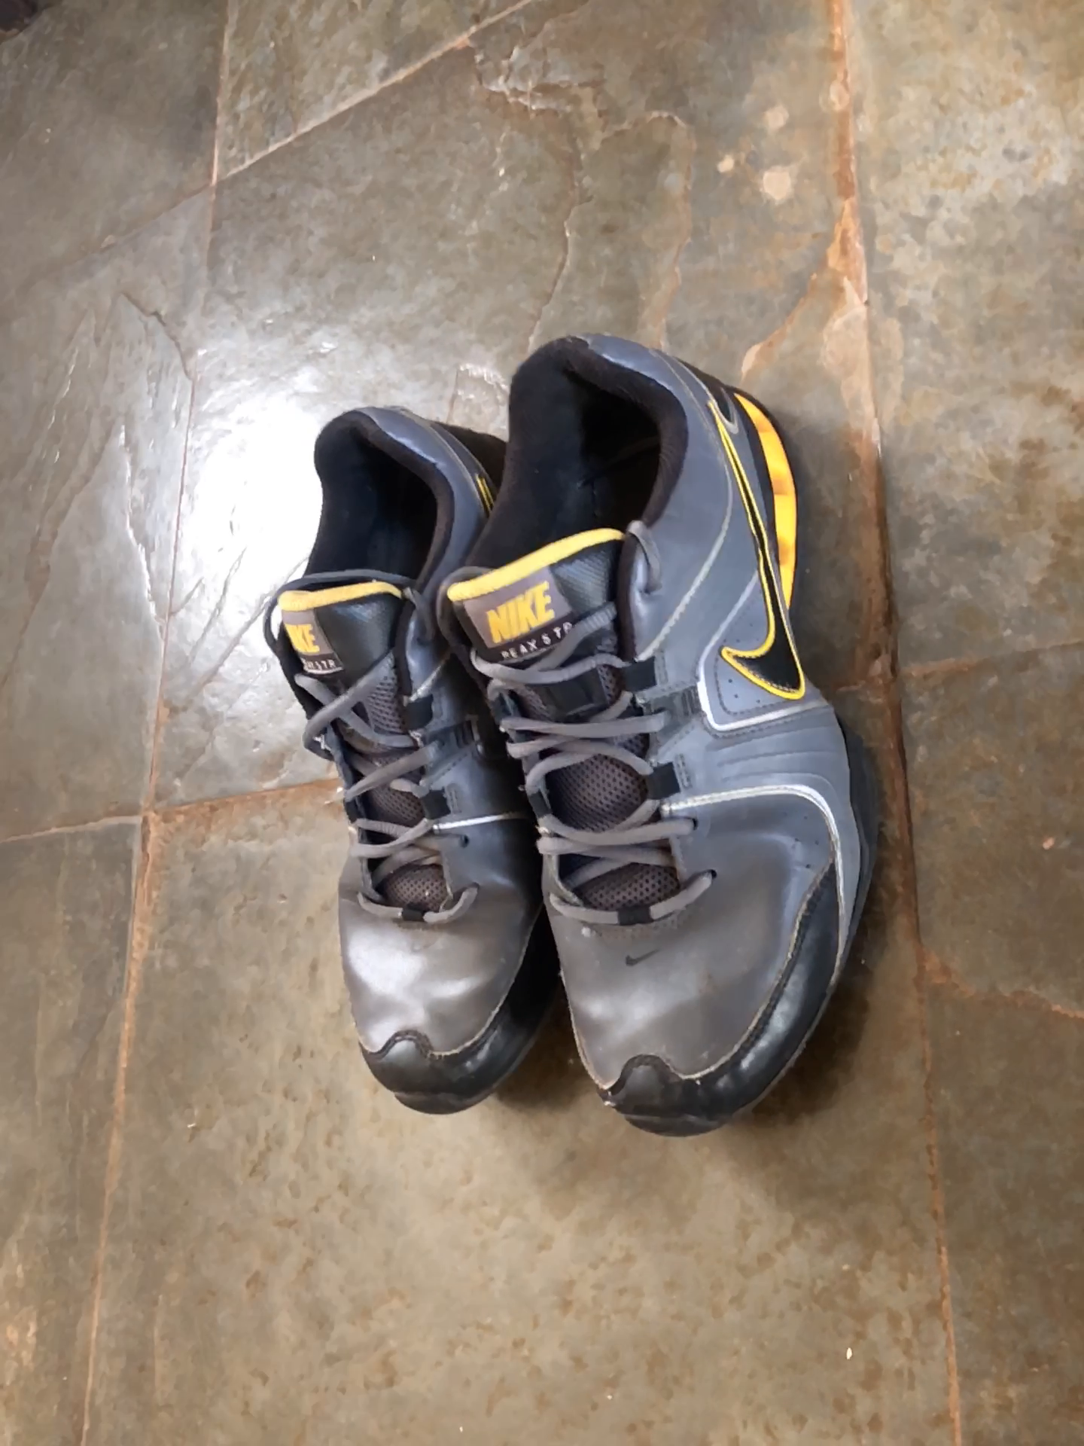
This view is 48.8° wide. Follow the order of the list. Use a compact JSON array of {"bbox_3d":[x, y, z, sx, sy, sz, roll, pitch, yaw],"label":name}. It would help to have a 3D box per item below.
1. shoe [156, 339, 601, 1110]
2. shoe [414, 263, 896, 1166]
[{"bbox_3d":[-0.050,0.008,0.425,0.100,0.100,0.240,-9,71,33],"label":"shoe"},{"bbox_3d":[0.038,0.004,0.372,0.100,0.100,0.240,-9,71,33],"label":"shoe"}]
